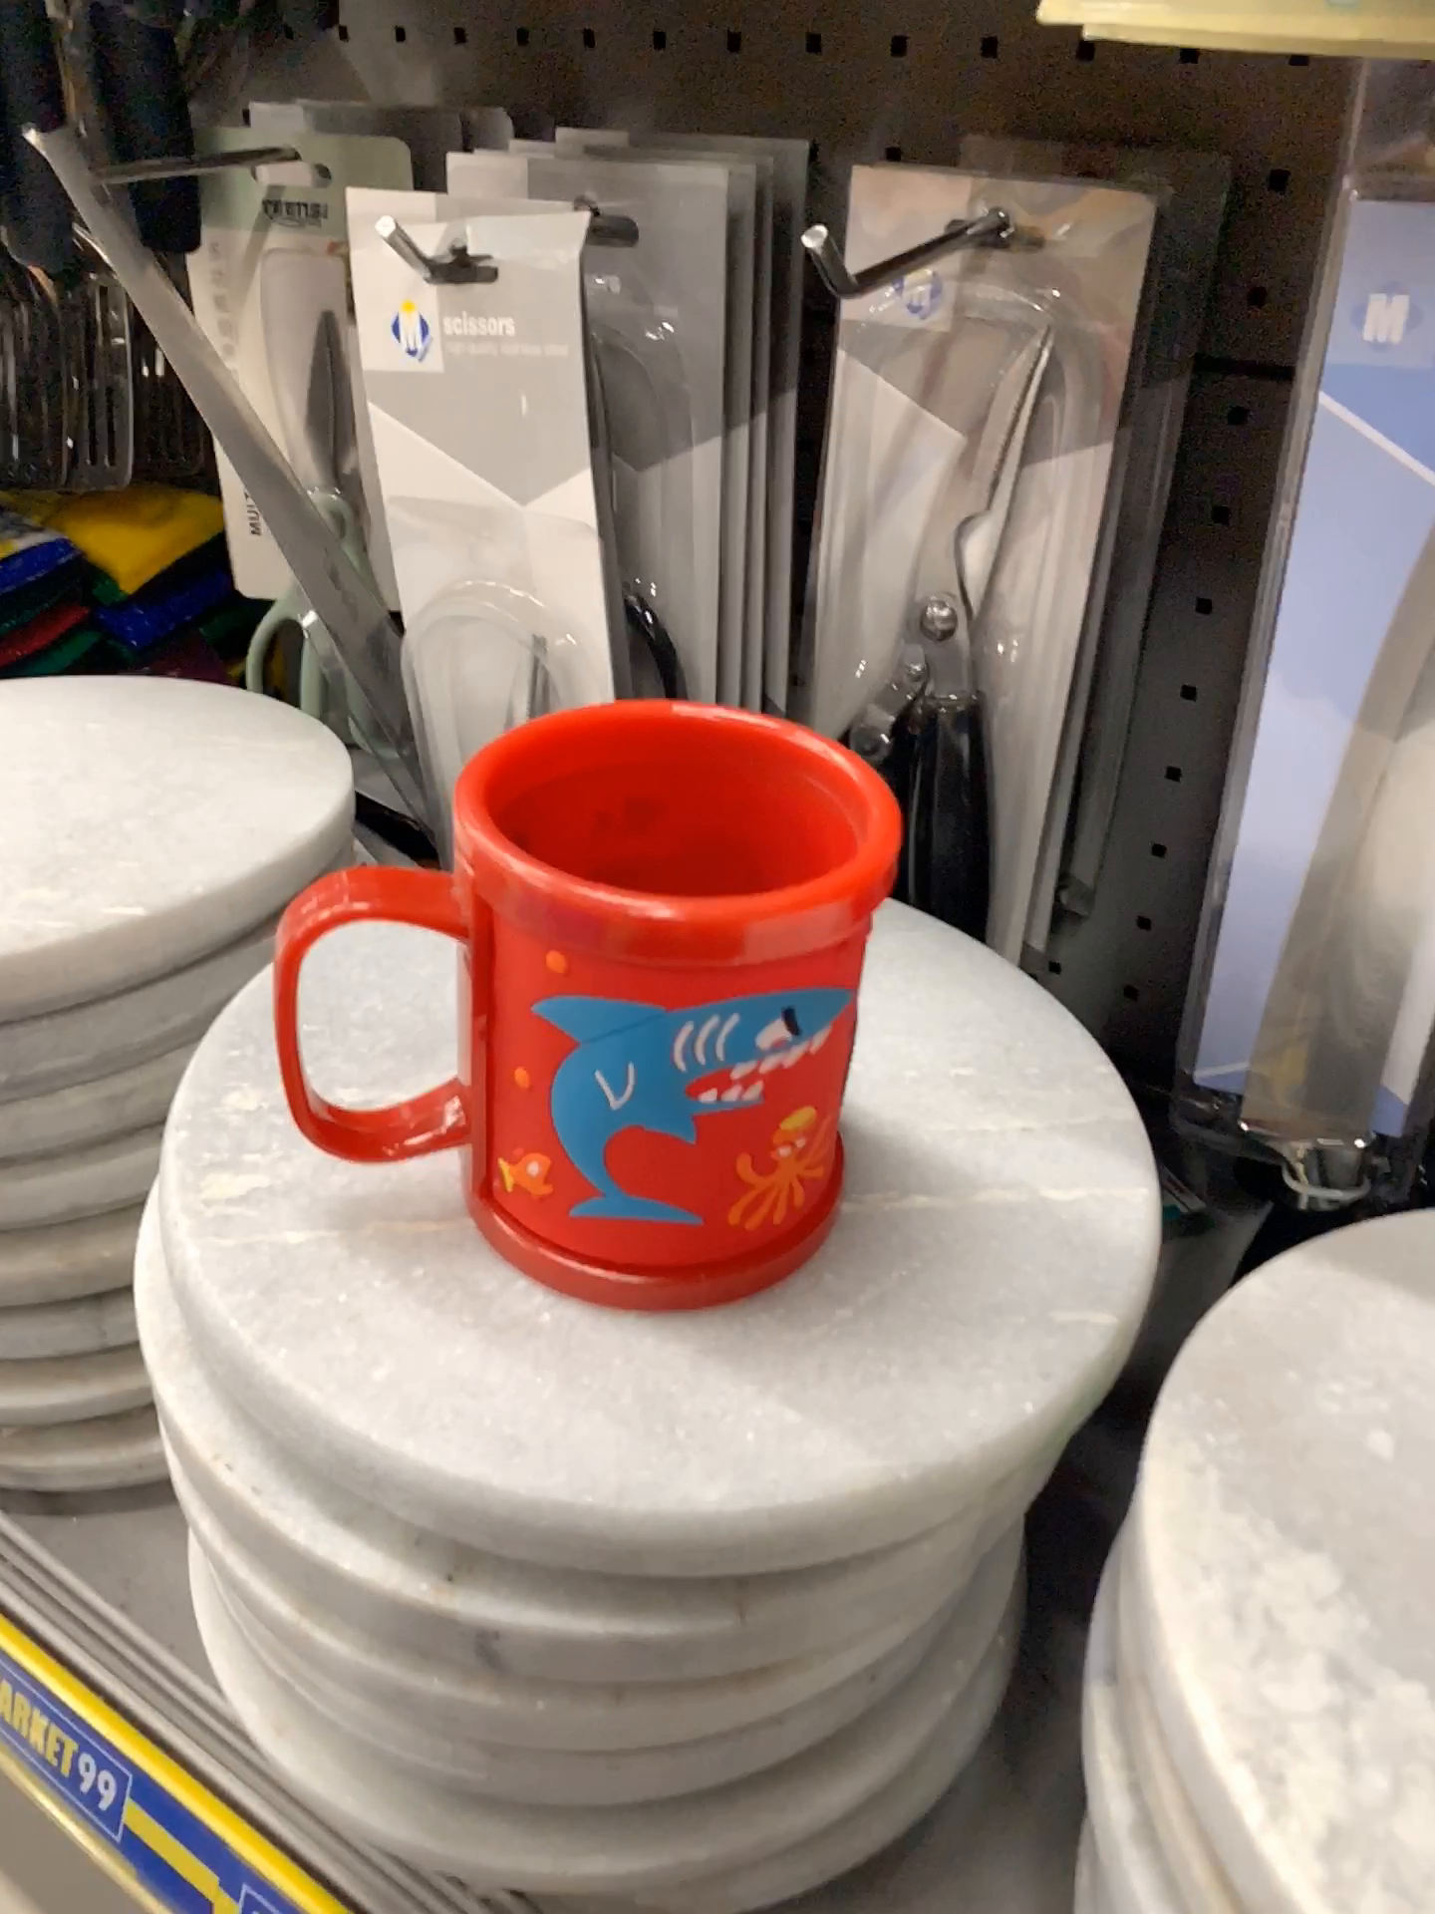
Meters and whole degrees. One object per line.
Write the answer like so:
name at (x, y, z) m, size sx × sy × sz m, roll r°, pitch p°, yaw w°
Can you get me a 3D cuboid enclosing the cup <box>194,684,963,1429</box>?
cup at (-0.029, 0.014, 0.285) m, size 0.120 × 0.100 × 0.080 m, roll -8°, pitch 33°, yaw -13°
